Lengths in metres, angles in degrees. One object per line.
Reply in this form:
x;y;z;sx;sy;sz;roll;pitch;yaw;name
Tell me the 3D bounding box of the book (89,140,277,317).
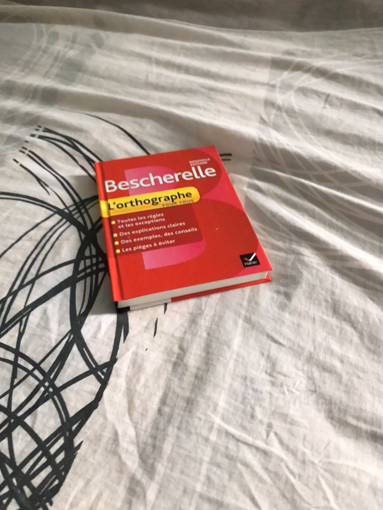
-0.019;-0.040;0.422;0.143;0.023;0.190;-12;51;-8;book
